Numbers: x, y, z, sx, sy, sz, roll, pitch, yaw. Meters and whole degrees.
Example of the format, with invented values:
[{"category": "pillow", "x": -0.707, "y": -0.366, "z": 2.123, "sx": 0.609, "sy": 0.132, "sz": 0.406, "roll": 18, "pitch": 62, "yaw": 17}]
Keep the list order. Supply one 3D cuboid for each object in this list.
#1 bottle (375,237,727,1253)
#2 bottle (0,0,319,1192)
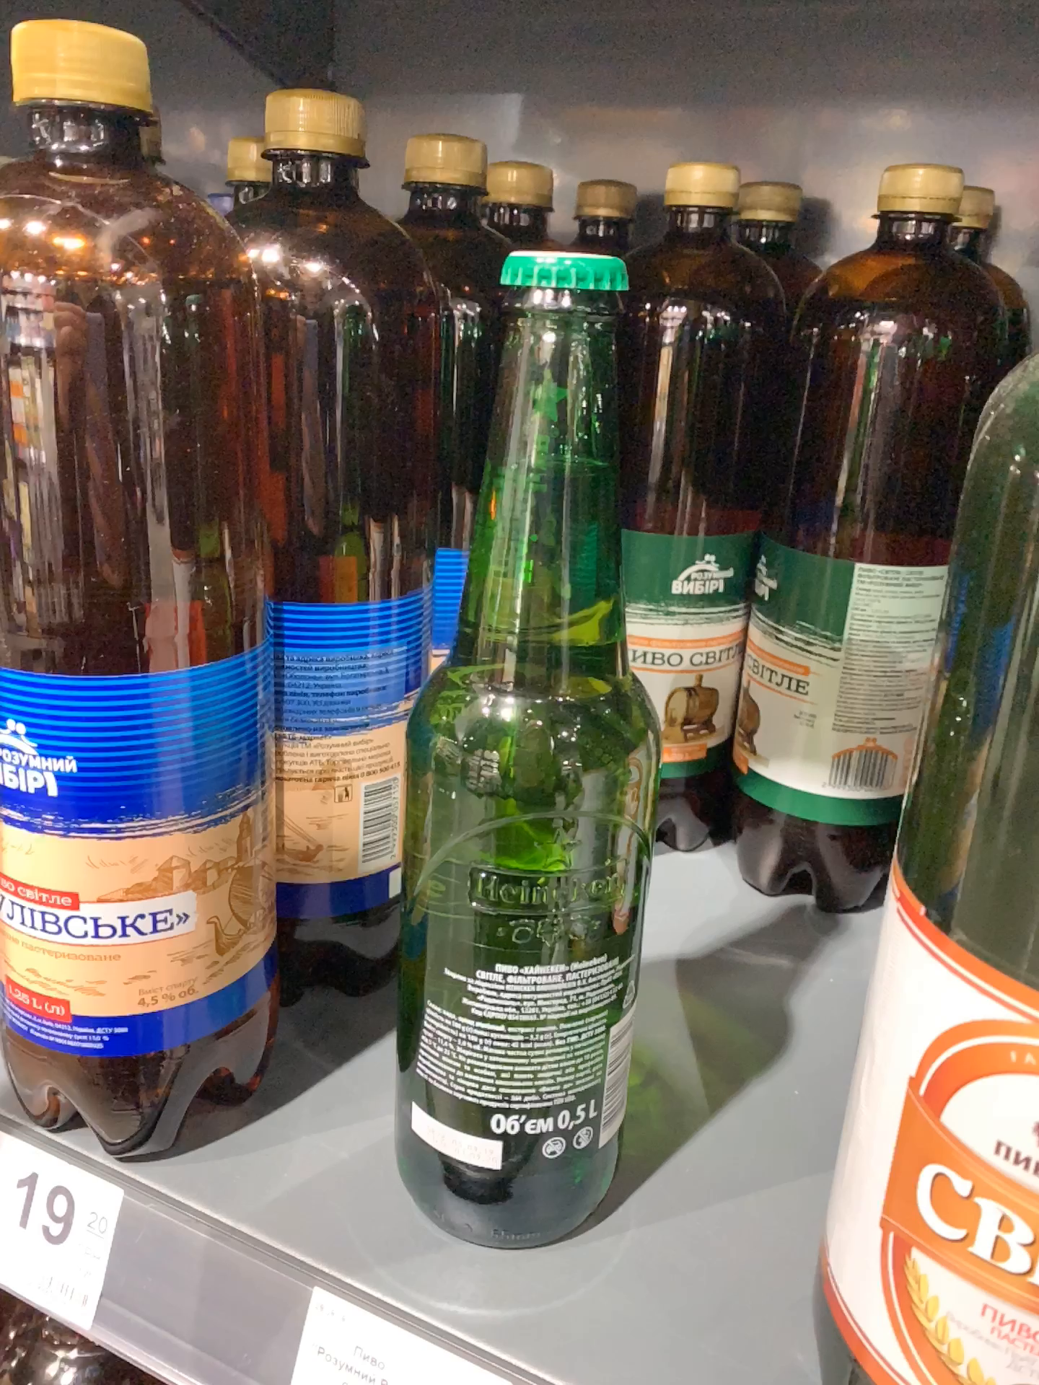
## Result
[{"category": "bottle", "x": -0.002, "y": 0.021, "z": 0.275, "sx": 0.066, "sy": 0.248, "sz": 0.062, "roll": 3, "pitch": 20, "yaw": -1}, {"category": "bottle", "x": -0.109, "y": -0.019, "z": 0.285, "sx": 0.080, "sy": 0.288, "sz": 0.074, "roll": 3, "pitch": 20, "yaw": -1}]
